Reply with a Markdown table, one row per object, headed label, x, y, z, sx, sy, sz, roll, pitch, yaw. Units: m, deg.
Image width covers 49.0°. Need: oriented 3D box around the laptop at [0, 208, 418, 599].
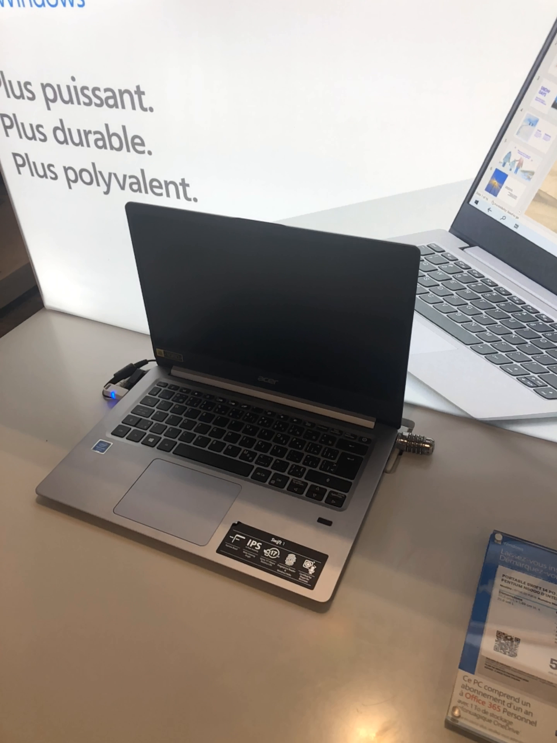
| label | x | y | z | sx | sy | sz | roll | pitch | yaw |
| --- | --- | --- | --- | --- | --- | --- | --- | --- | --- |
| laptop | -0.060 | 0.007 | 0.582 | 0.311 | 0.210 | 0.226 | 14 | 41 | 21 |
